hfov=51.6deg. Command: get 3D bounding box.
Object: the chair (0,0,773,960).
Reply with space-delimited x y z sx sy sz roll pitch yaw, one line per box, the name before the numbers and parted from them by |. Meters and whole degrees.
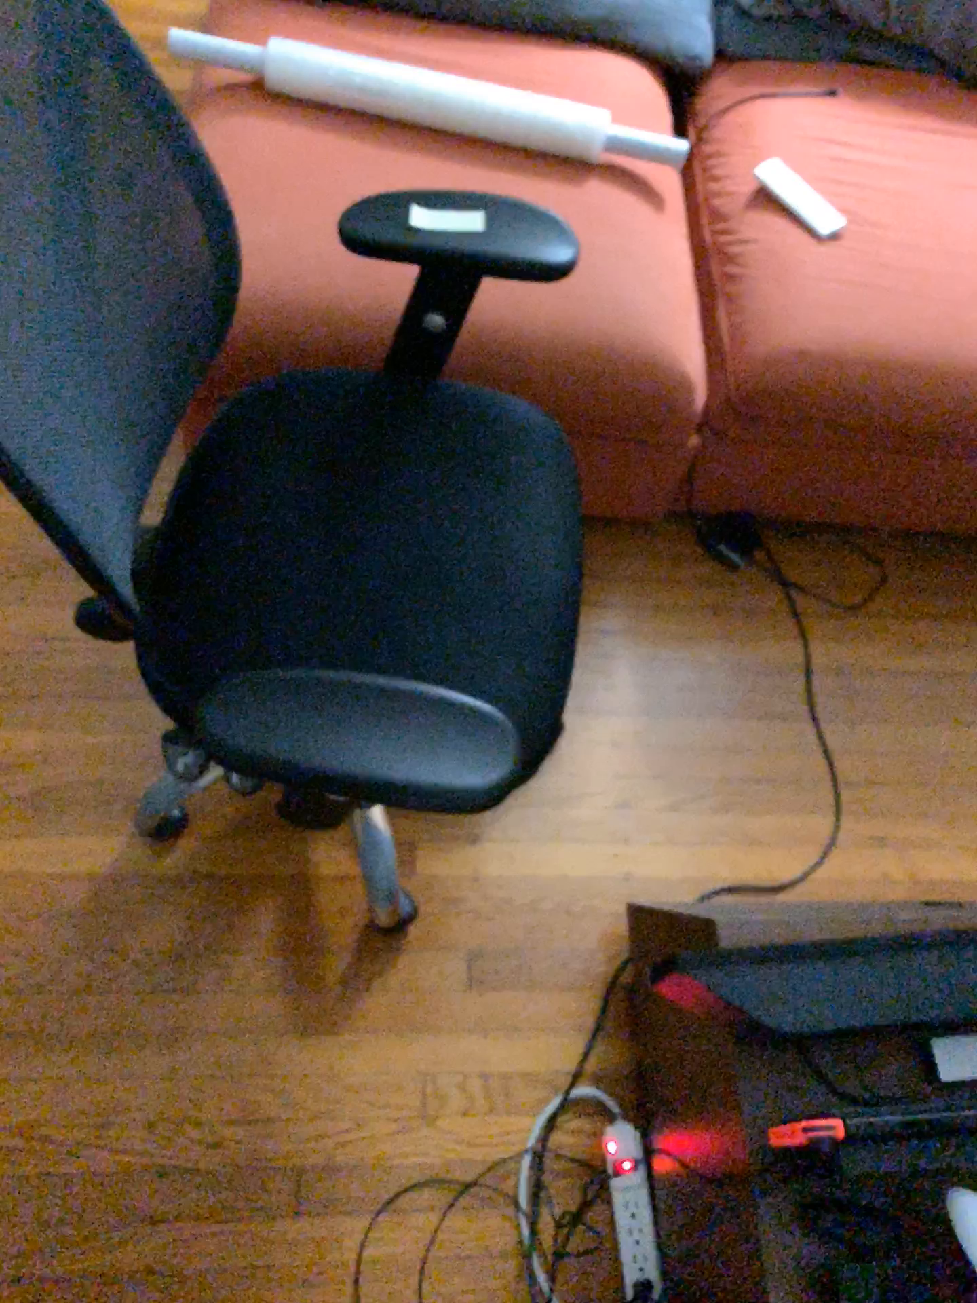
chair | -0.180 -0.165 1.055 0.660 0.977 0.642 9 60 1
